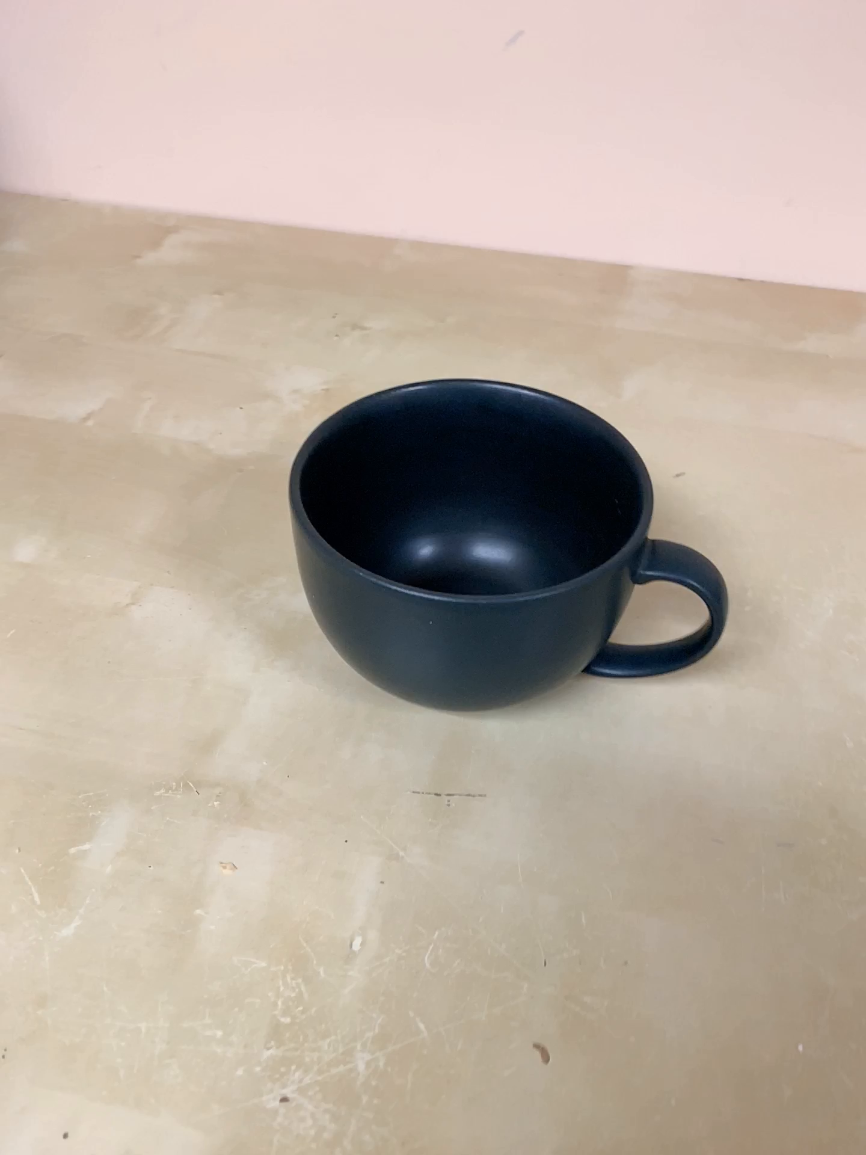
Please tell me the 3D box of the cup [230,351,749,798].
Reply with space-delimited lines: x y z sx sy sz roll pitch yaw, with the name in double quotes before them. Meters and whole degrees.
"cup" 0.029 -0.010 0.337 0.158 0.068 0.136 11 45 10
